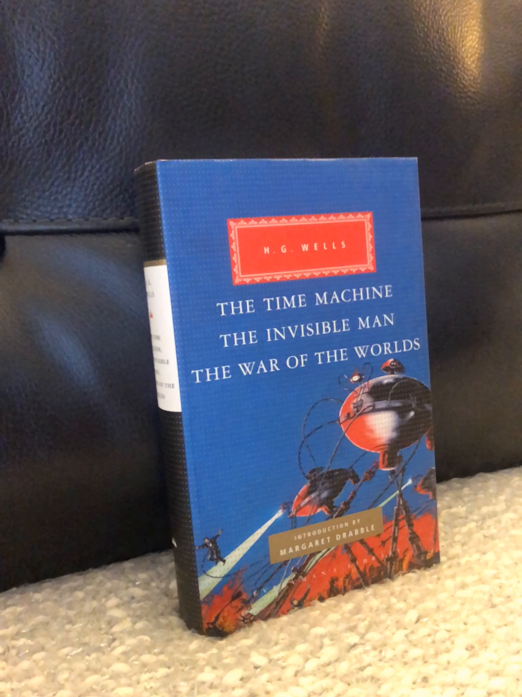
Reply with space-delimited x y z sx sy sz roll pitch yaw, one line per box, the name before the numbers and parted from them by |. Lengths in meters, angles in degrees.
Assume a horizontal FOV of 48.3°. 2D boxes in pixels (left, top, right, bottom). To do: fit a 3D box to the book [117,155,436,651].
book | 0.015 0.019 0.305 0.148 0.226 0.034 -8 7 -23
